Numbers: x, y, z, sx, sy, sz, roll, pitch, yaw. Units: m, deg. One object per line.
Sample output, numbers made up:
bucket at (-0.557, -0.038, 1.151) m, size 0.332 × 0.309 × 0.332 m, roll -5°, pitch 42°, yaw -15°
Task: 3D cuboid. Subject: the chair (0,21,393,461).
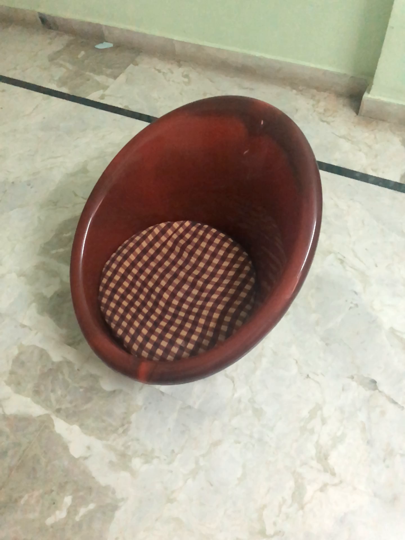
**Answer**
chair at (-0.080, -0.083, 1.057) m, size 0.672 × 0.547 × 0.632 m, roll 31°, pitch 64°, yaw 23°
